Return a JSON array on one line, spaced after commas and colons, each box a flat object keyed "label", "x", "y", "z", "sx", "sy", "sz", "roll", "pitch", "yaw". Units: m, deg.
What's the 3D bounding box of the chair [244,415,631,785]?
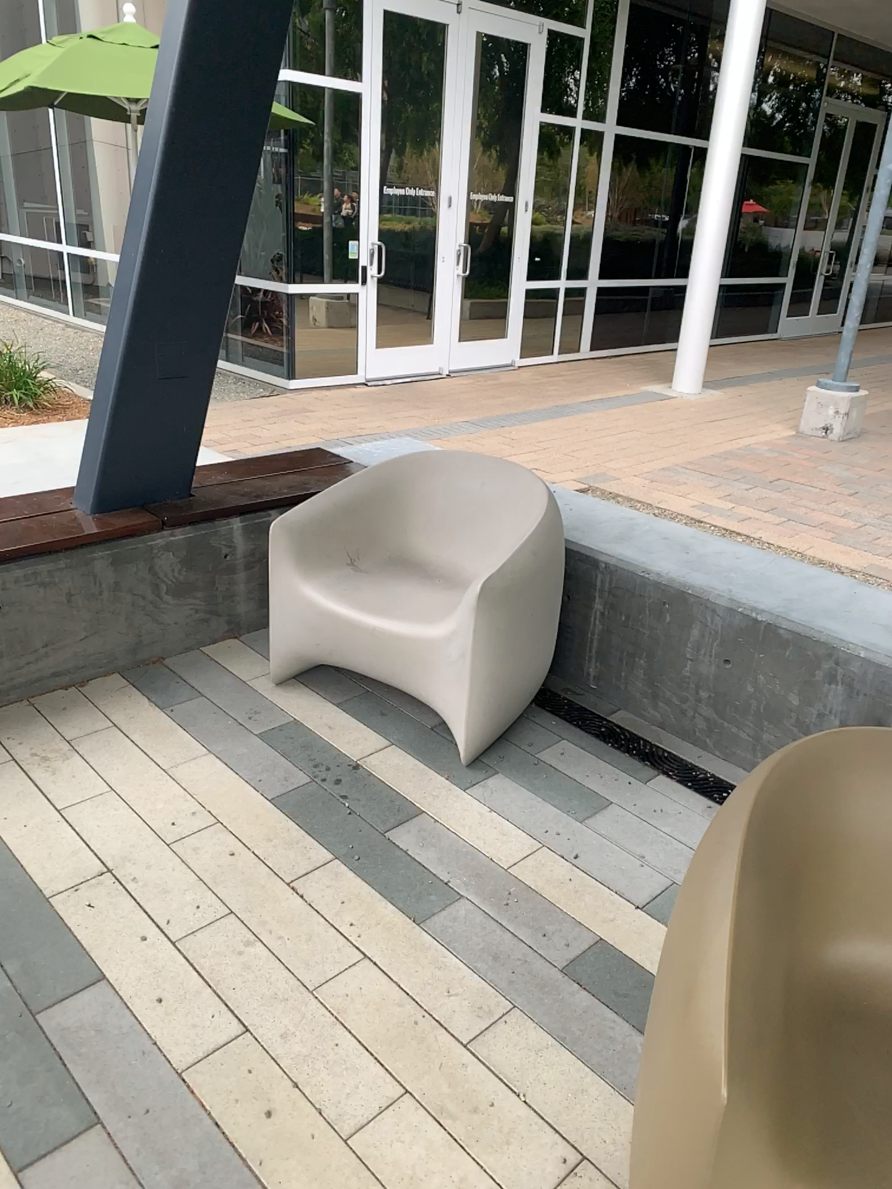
[{"label": "chair", "x": -0.034, "y": -0.062, "z": 3.250, "sx": 0.983, "sy": 0.786, "sz": 0.923, "roll": 20, "pitch": 30, "yaw": 26}]
